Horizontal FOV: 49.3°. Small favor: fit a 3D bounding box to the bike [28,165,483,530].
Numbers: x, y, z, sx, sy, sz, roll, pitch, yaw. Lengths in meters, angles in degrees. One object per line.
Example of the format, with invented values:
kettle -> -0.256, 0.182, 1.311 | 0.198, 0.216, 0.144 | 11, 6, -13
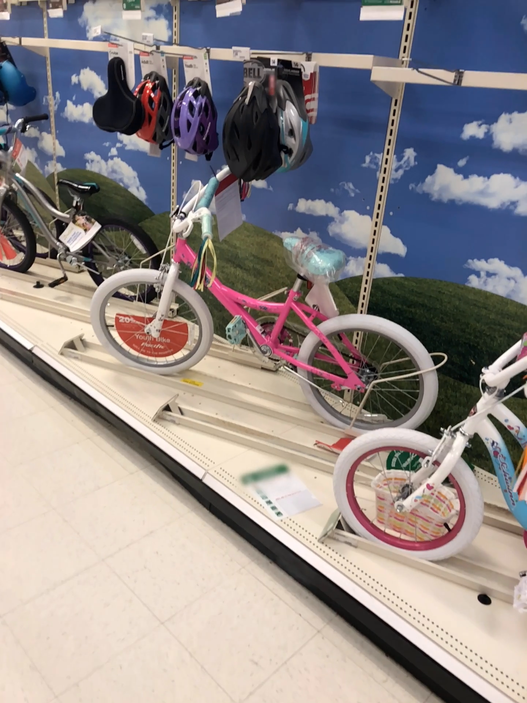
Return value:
bike -> -0.035, -0.135, 2.070 | 1.347, 0.882, 0.729 | 12, 25, 20
